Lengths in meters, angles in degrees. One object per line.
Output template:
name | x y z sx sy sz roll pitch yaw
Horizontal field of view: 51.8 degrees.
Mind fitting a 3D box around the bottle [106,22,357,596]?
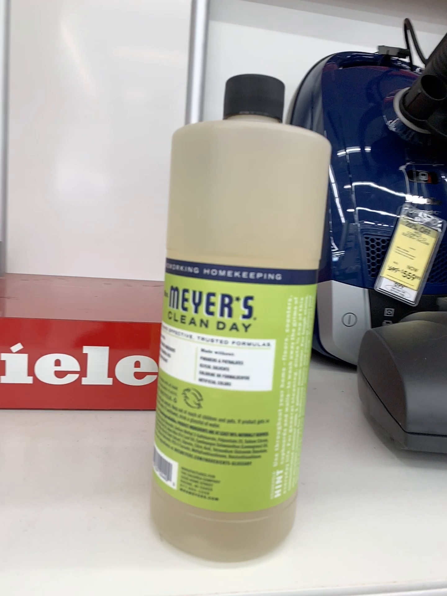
bottle | 0.006 0.004 0.249 0.090 0.240 0.090 4 7 0
